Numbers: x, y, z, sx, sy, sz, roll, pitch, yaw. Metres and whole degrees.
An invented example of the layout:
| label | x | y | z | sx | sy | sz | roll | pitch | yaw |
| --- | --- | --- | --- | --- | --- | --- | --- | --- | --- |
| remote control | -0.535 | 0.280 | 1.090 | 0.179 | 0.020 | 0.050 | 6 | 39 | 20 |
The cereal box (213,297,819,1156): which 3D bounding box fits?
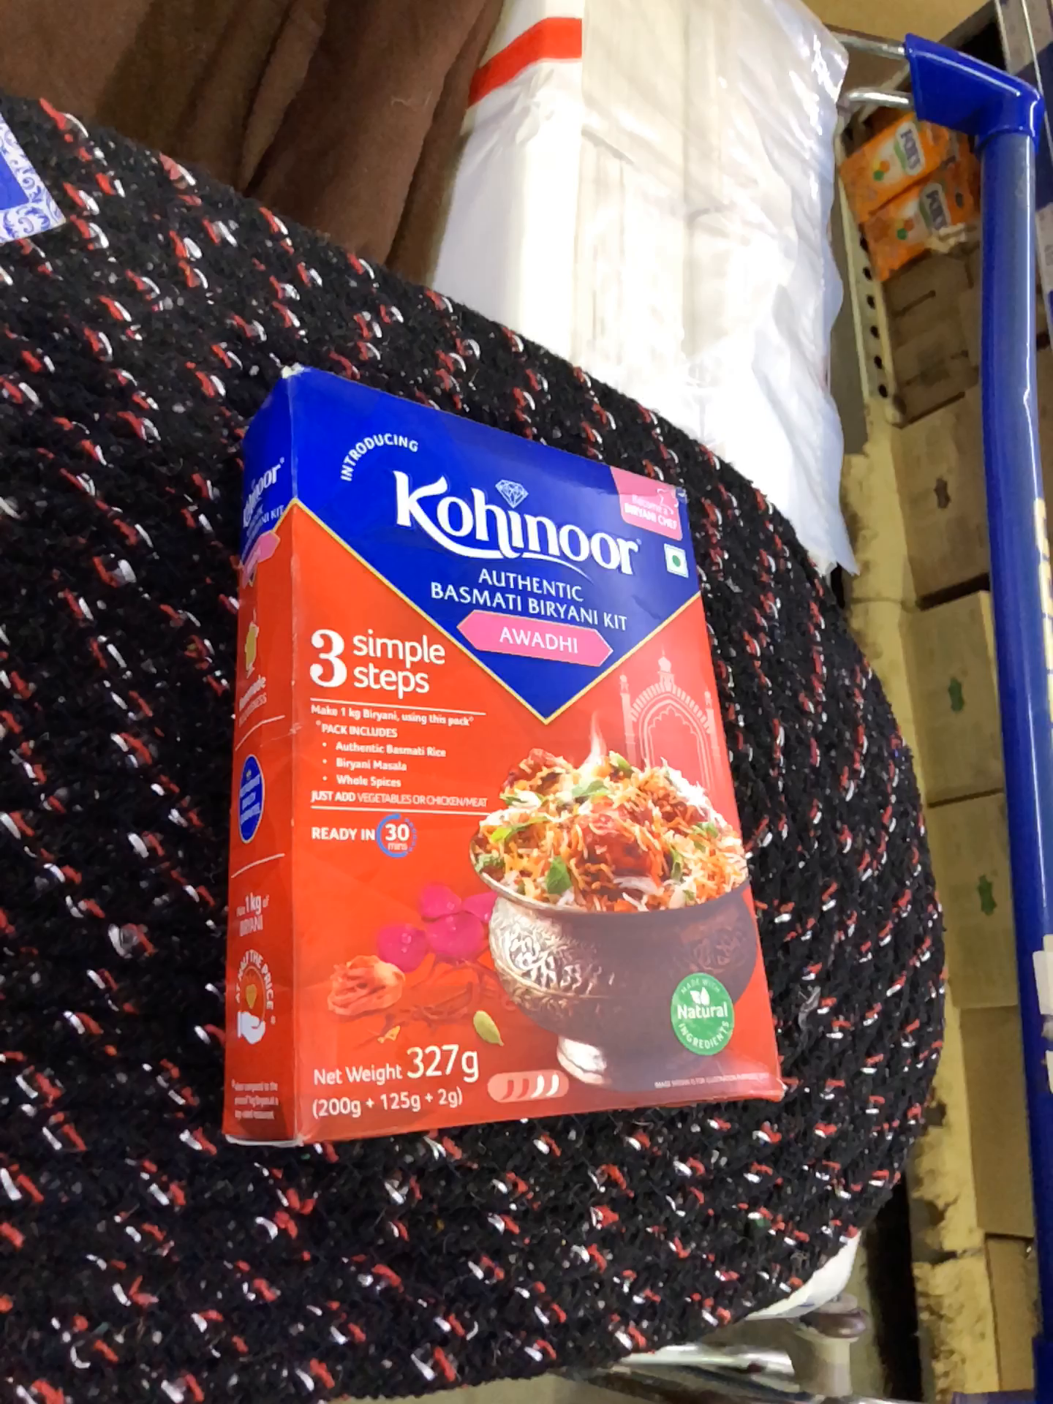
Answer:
| label | x | y | z | sx | sy | sz | roll | pitch | yaw |
| --- | --- | --- | --- | --- | --- | --- | --- | --- | --- |
| cereal box | -0.001 | 0.008 | 0.291 | 0.141 | 0.040 | 0.180 | 7 | 71 | -34 |
